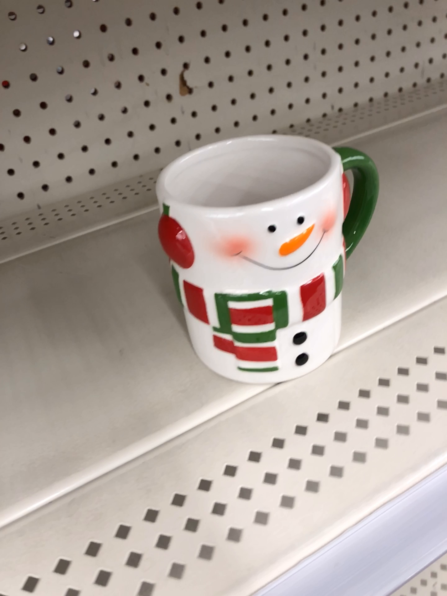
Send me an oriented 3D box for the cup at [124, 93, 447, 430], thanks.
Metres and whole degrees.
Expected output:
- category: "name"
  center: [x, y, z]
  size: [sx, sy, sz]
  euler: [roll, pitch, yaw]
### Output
- category: "cup"
  center: [0.038, -0.027, 0.265]
  size: [0.130, 0.110, 0.090]
  euler: [-27, 40, -22]
